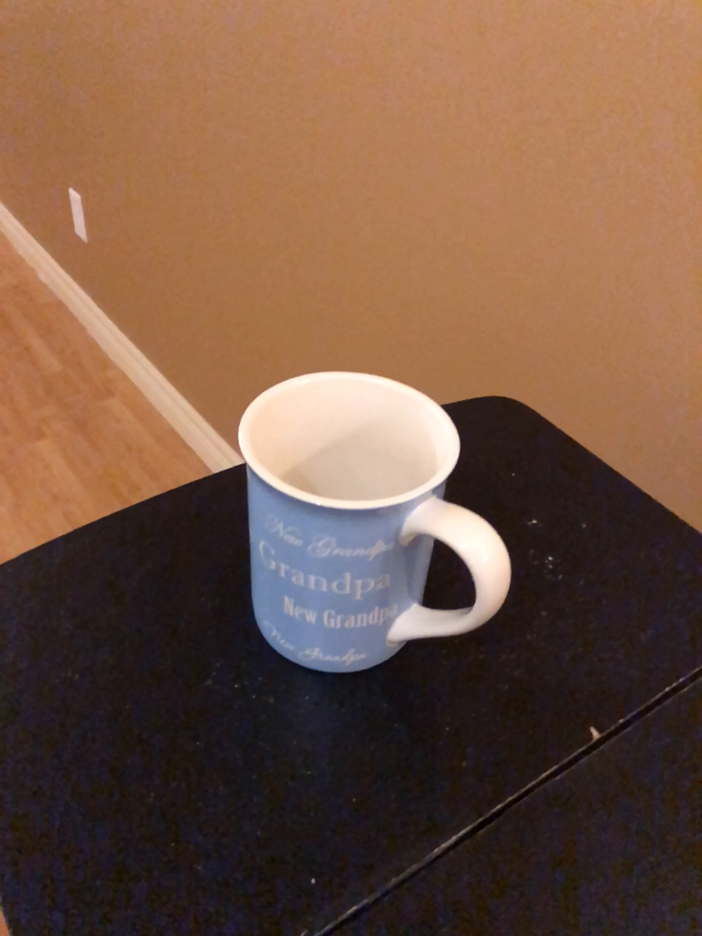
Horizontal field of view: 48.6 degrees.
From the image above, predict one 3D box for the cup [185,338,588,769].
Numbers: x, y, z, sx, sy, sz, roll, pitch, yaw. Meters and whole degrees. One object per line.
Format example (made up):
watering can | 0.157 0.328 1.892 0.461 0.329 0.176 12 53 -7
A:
cup | 0.012 0.032 0.349 0.130 0.110 0.100 28 45 25
